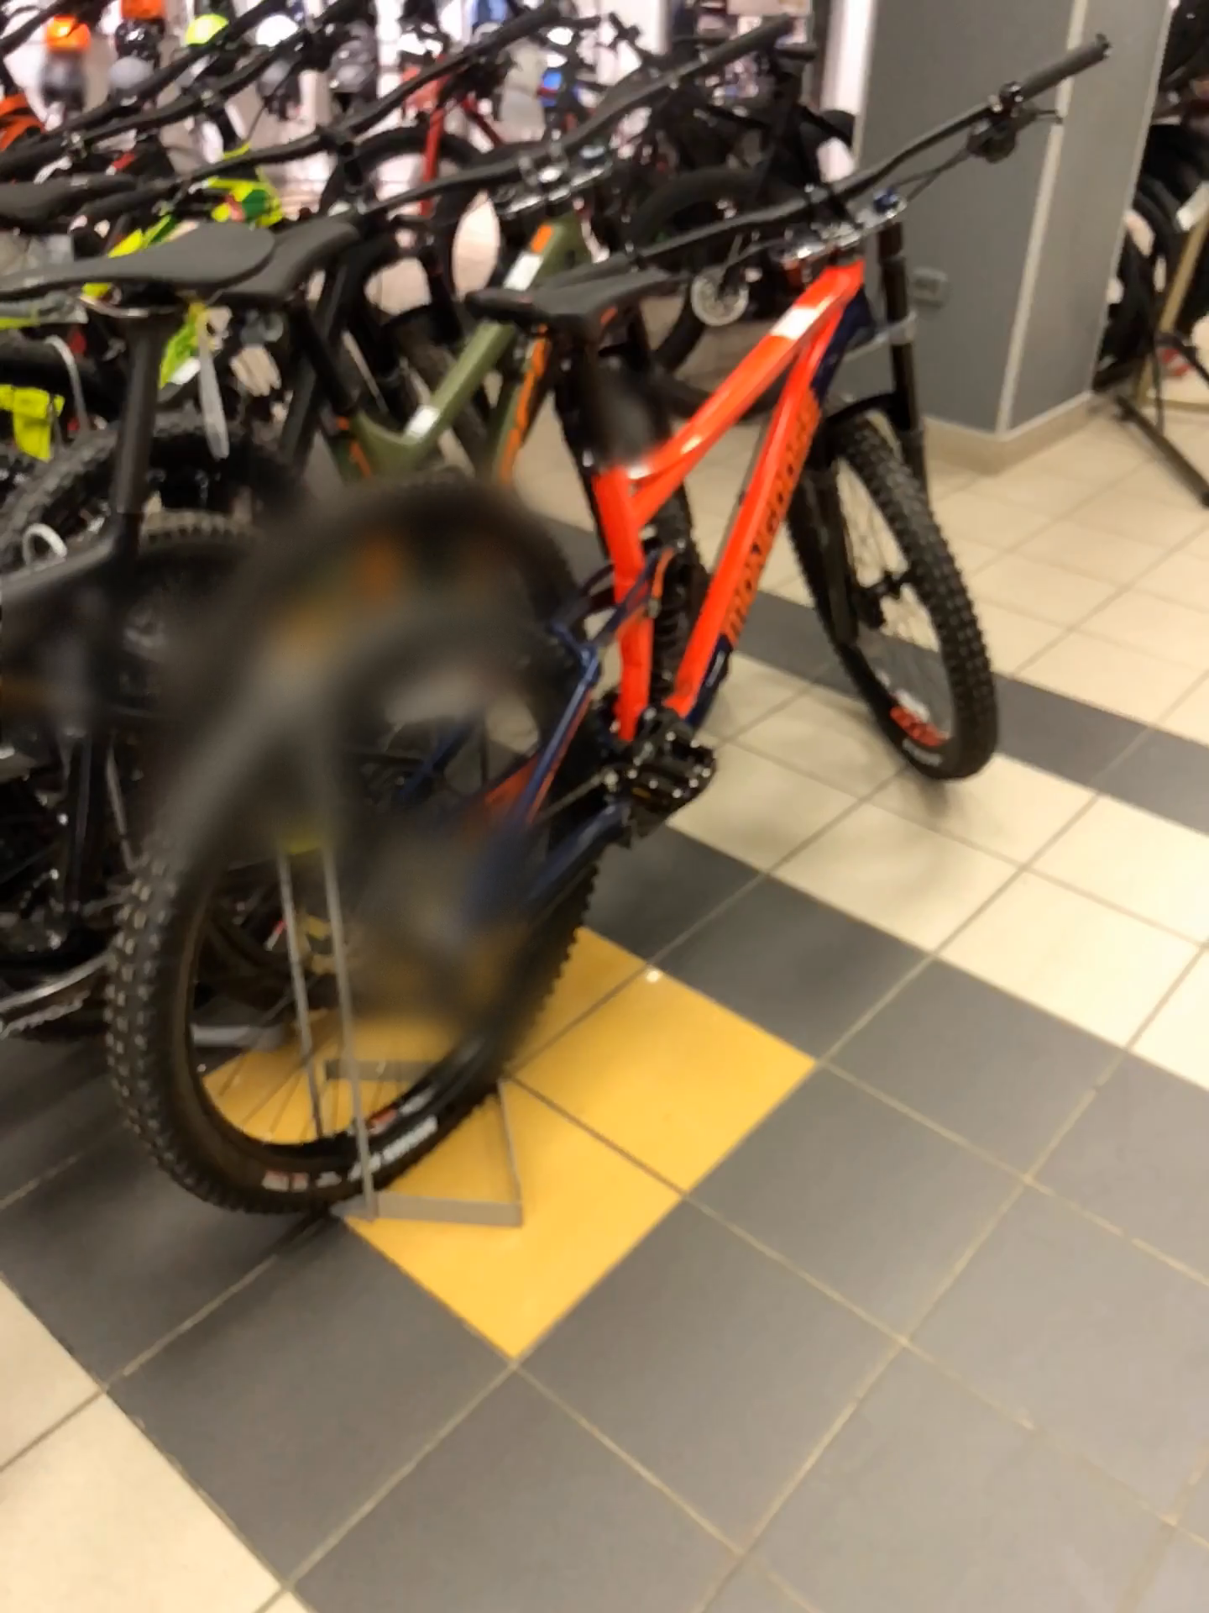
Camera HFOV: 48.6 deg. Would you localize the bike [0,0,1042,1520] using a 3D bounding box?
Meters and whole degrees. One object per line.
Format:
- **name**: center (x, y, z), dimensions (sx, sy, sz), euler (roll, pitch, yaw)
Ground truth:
- **bike**: center (-0.089, -0.399, 1.776), dimensions (0.801, 1.109, 1.706), euler (17, 38, 23)
